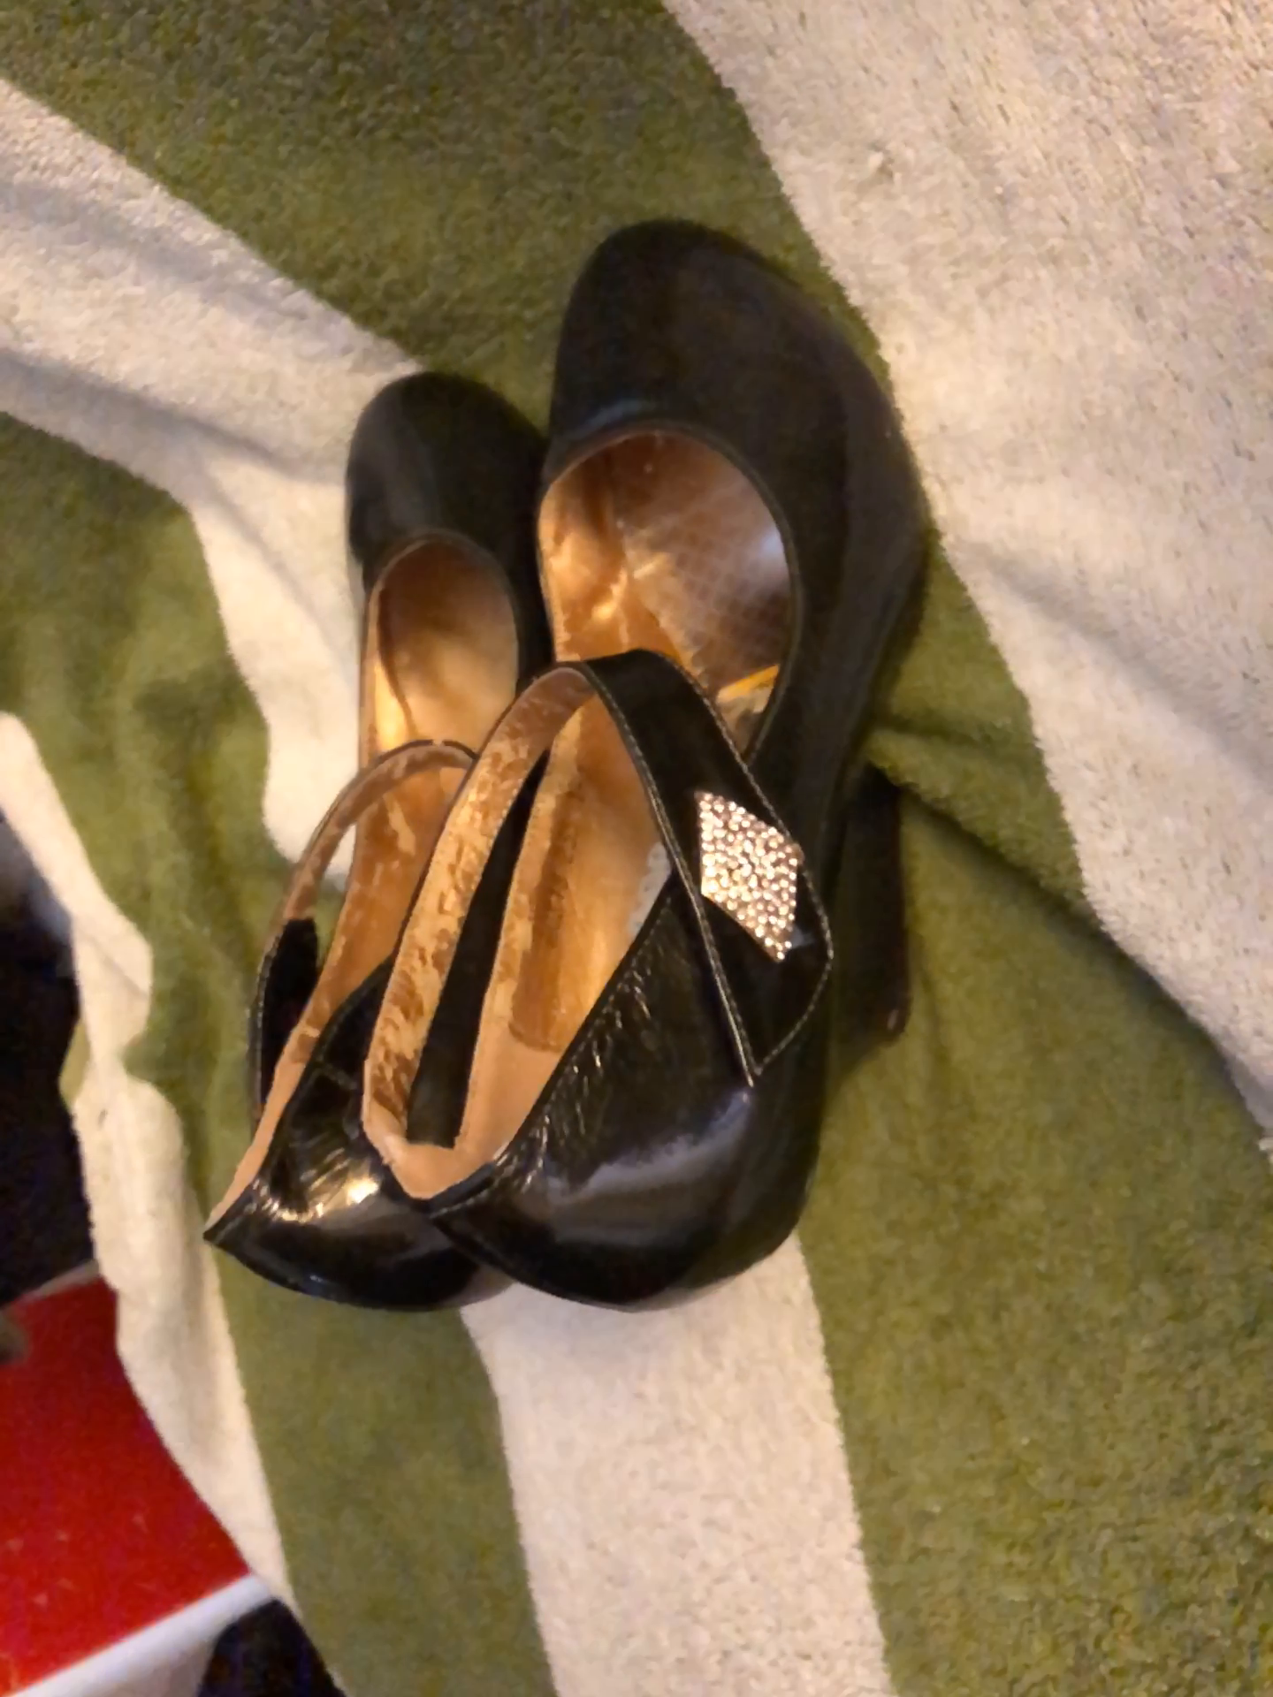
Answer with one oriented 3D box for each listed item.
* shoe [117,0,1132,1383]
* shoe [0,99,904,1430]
[{"bbox_3d":[-0.002,-0.040,0.272,0.090,0.119,0.240,-18,80,39],"label":"shoe"},{"bbox_3d":[-0.050,-0.019,0.319,0.090,0.119,0.240,-30,73,37],"label":"shoe"}]
